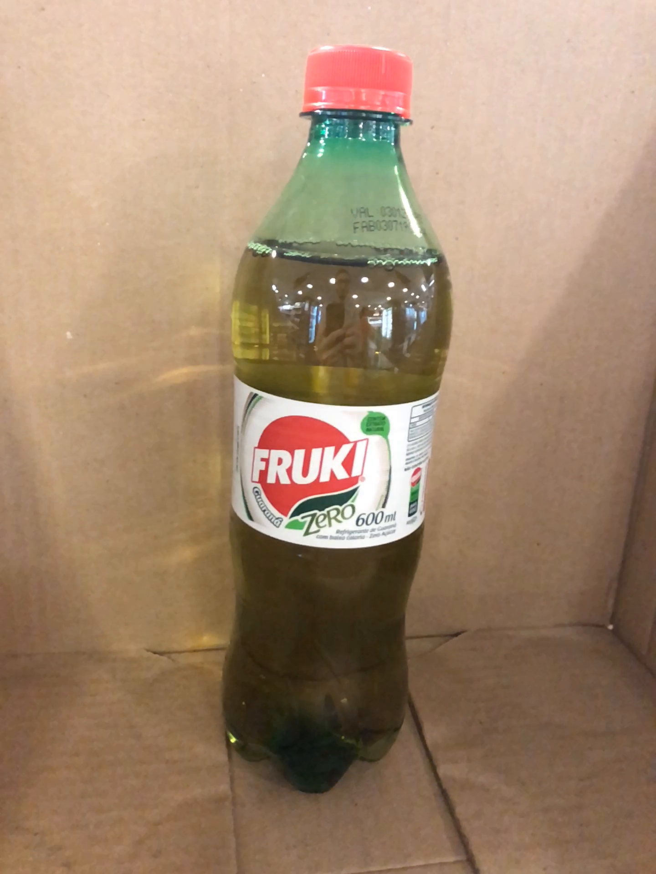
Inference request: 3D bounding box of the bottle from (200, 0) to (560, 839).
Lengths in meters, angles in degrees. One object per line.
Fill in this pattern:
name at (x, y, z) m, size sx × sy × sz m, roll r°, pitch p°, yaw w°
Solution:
bottle at (0.008, 0.000, 0.239) m, size 0.080 × 0.239 × 0.080 m, roll 3°, pitch 18°, yaw -1°
